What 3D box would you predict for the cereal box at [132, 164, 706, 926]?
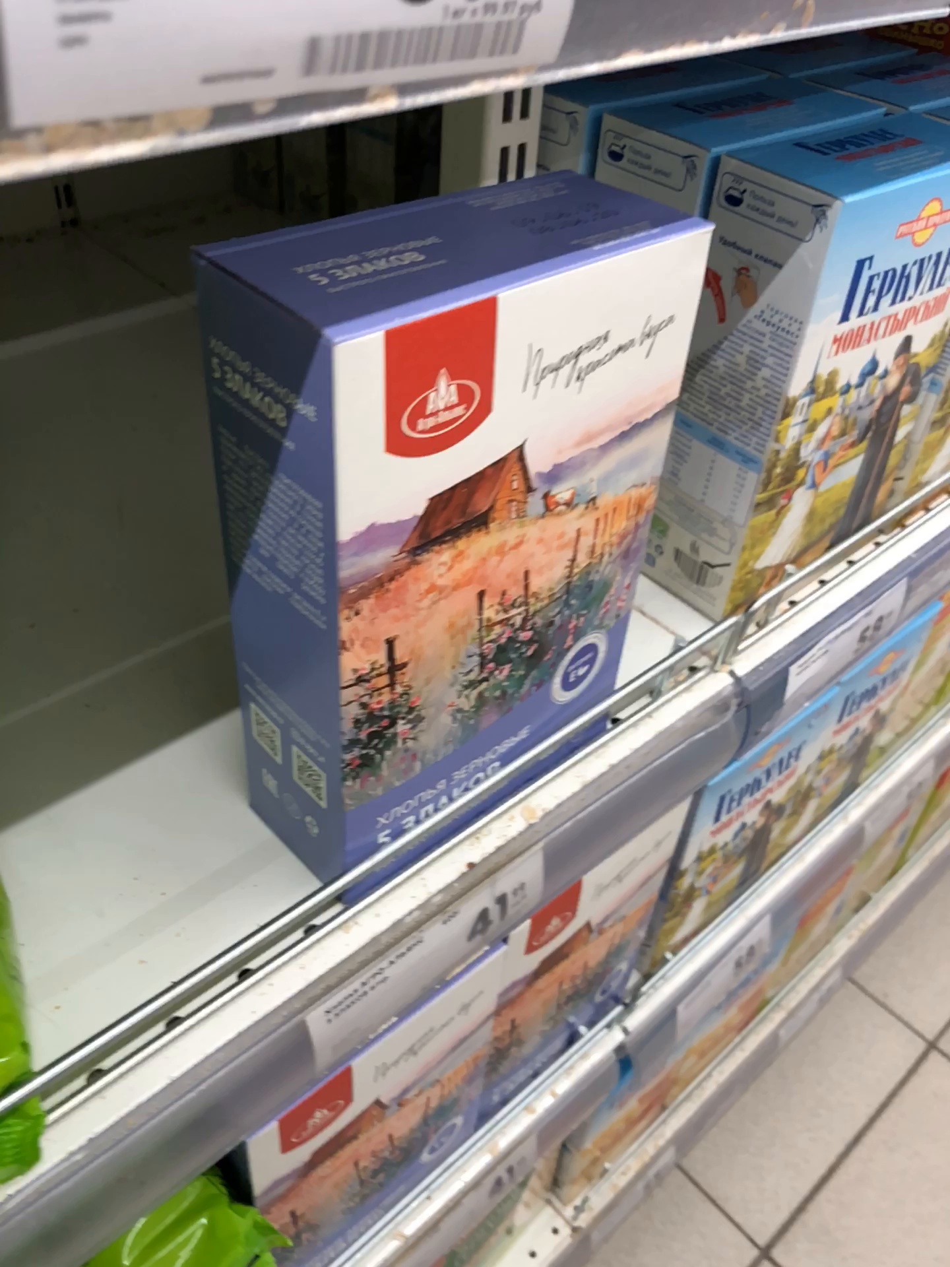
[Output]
[{"bbox_3d":[-0.015,-0.024,0.333,0.140,0.199,0.060,-29,51,-33],"label":"cereal box"}]
